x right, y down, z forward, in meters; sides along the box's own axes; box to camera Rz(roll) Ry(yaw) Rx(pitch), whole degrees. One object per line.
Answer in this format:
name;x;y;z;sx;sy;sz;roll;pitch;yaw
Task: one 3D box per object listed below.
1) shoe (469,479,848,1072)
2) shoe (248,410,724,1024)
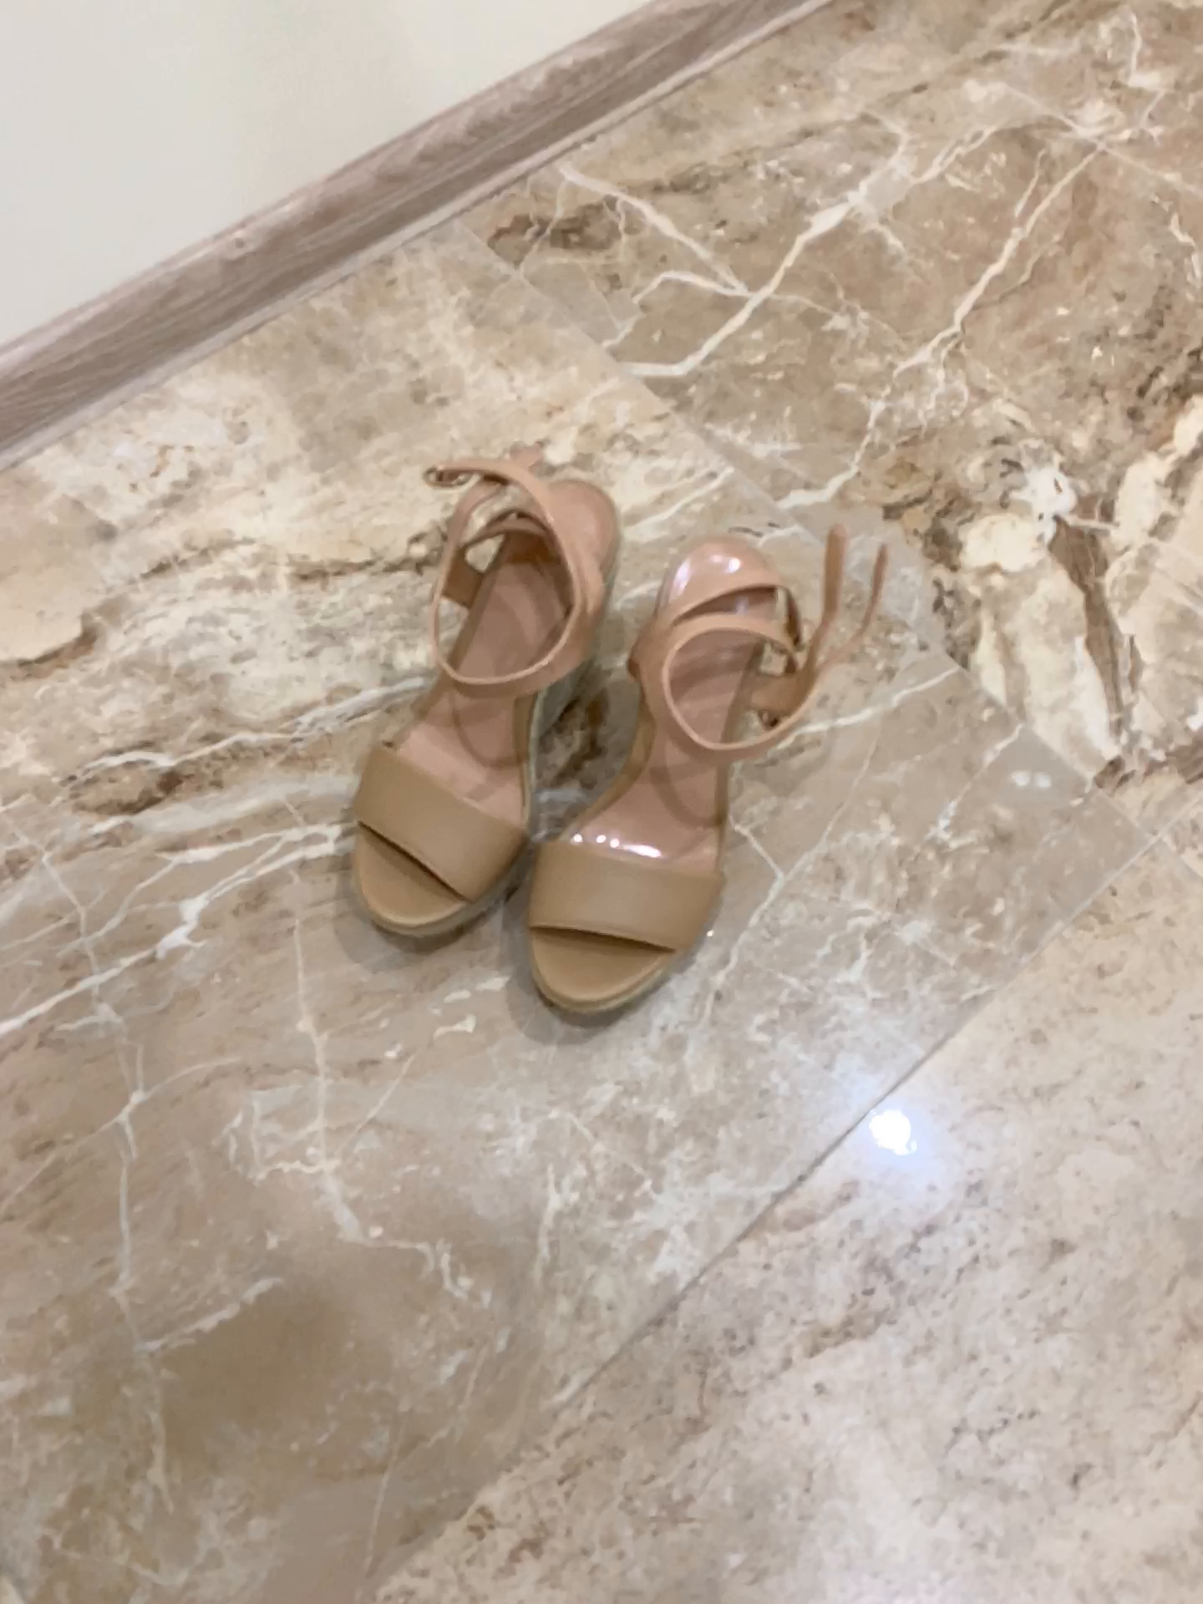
shoe;0.026;-0.009;0.540;0.090;0.130;0.210;18;66;6
shoe;-0.041;-0.033;0.542;0.090;0.150;0.210;26;67;10
